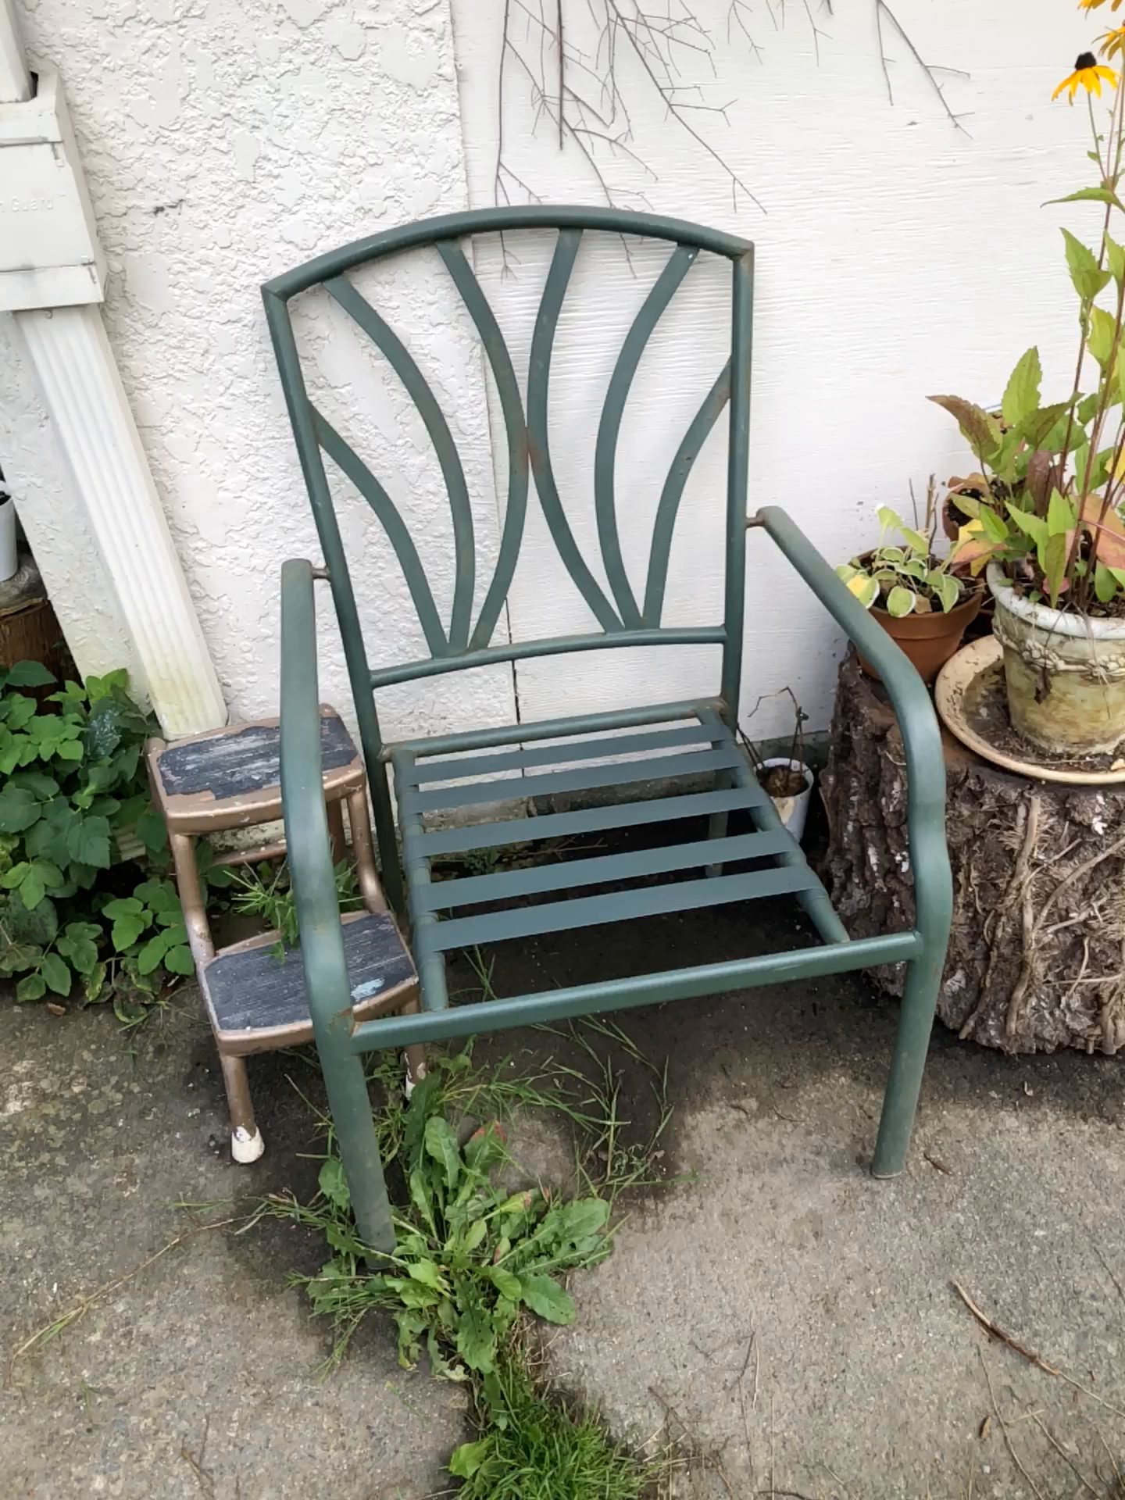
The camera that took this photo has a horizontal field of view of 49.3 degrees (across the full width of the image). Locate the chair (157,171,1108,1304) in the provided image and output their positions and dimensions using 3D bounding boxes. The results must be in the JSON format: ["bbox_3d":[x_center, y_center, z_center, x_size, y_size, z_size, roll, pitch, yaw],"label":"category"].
[{"bbox_3d":[0.019,-0.029,1.320,0.620,0.904,0.685,-9,37,-7],"label":"chair"}]
